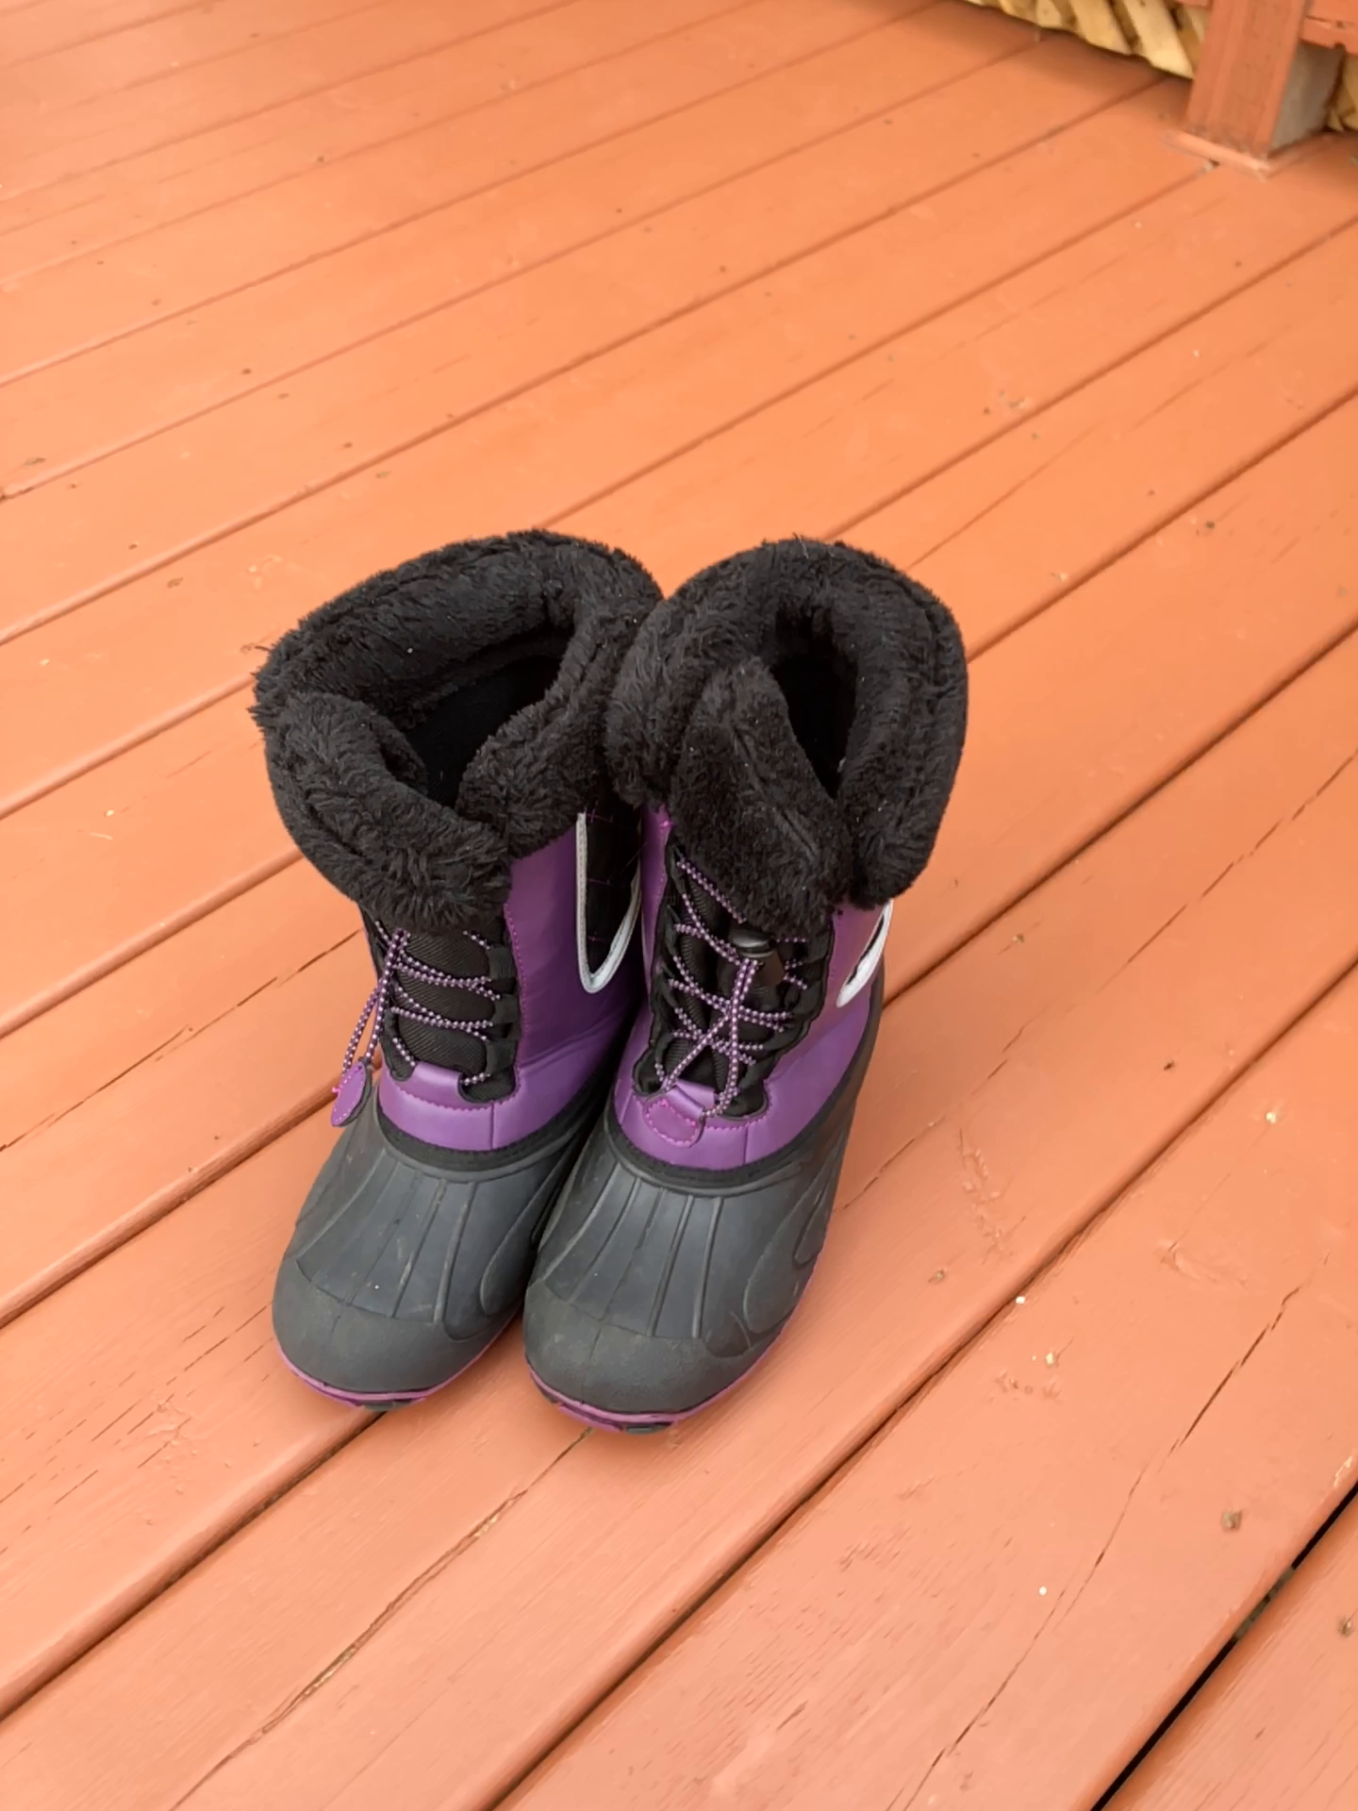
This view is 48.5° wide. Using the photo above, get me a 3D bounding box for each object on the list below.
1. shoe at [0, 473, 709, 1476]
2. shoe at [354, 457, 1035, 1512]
[{"bbox_3d":[-0.095,0.032,0.577,0.120,0.279,0.240,19,53,18],"label":"shoe"},{"bbox_3d":[0.021,0.035,0.547,0.120,0.279,0.240,16,52,15],"label":"shoe"}]
